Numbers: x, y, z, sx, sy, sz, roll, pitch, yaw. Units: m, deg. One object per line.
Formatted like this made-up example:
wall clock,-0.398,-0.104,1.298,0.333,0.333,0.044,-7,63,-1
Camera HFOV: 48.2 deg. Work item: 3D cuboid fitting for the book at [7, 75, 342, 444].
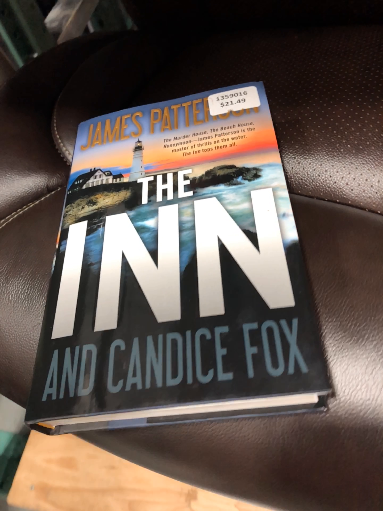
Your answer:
book,-0.014,-0.015,0.297,0.170,0.040,0.250,-10,54,10
